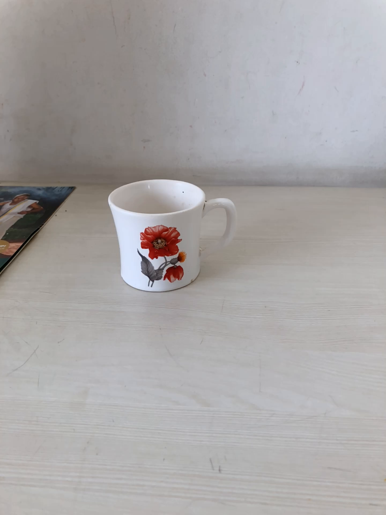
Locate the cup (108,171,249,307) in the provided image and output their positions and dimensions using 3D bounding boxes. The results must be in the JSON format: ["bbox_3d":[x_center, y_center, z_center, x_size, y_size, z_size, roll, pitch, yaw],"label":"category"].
[{"bbox_3d":[-0.013,-0.017,0.318,0.090,0.070,0.070,-6,28,-9],"label":"cup"}]
